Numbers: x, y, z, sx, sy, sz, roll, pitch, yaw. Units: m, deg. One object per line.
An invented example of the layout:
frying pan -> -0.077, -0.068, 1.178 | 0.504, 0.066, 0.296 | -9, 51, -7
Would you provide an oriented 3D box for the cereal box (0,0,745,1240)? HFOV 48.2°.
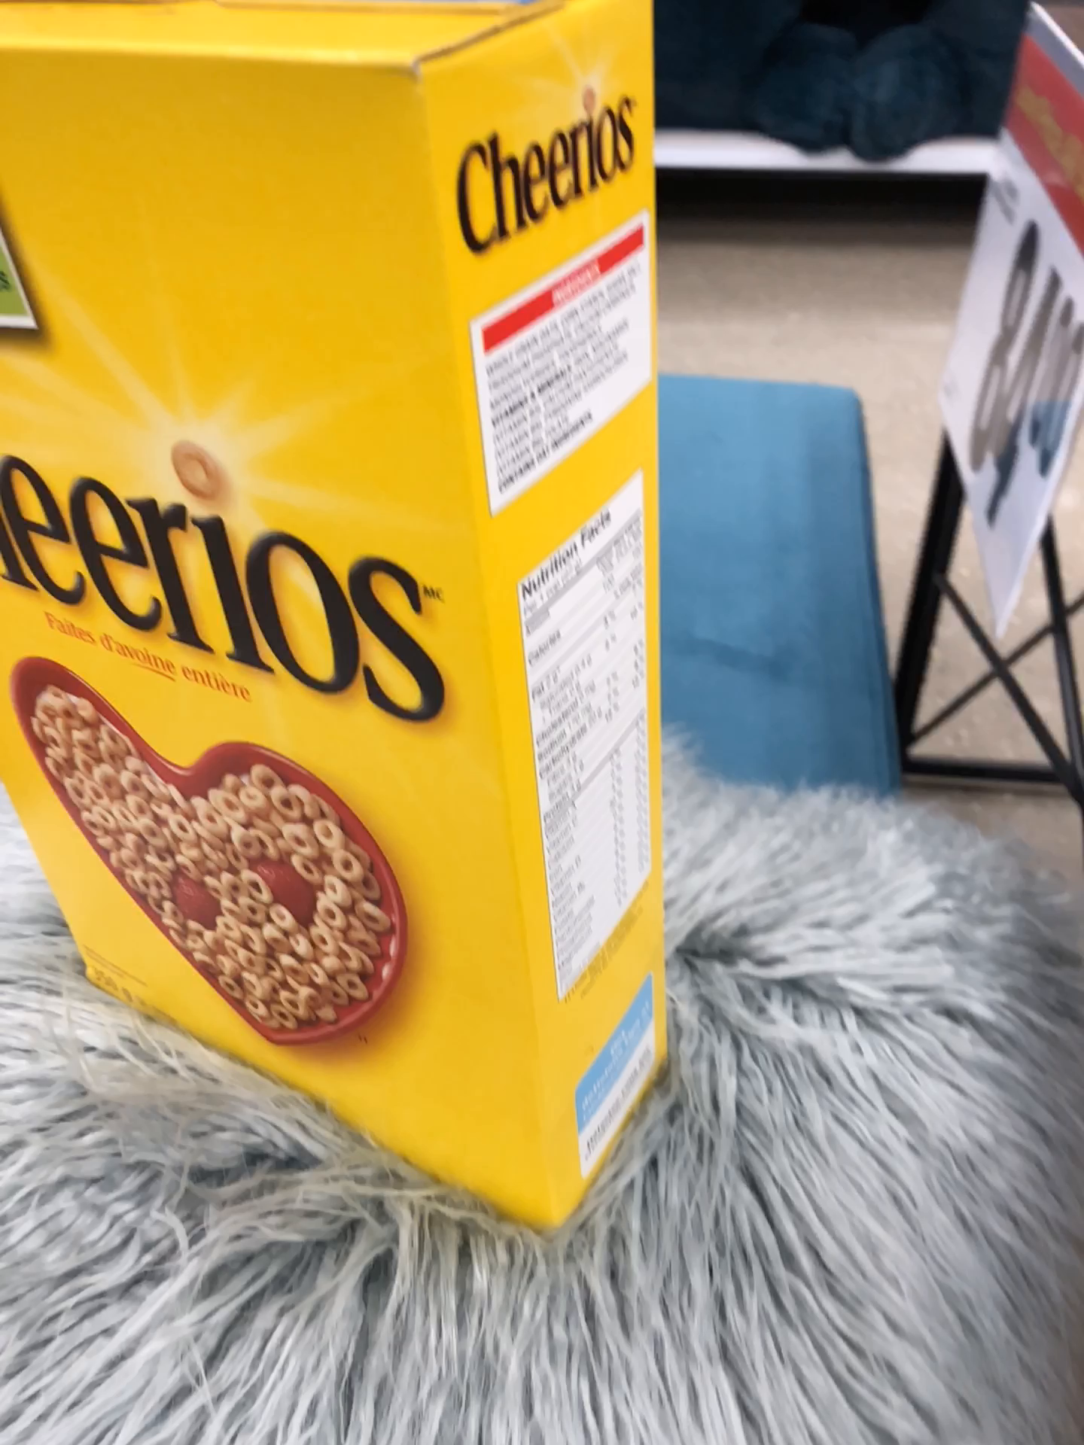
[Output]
cereal box -> -0.074, -0.022, 0.312 | 0.210, 0.289, 0.080 | 19, 43, 23
